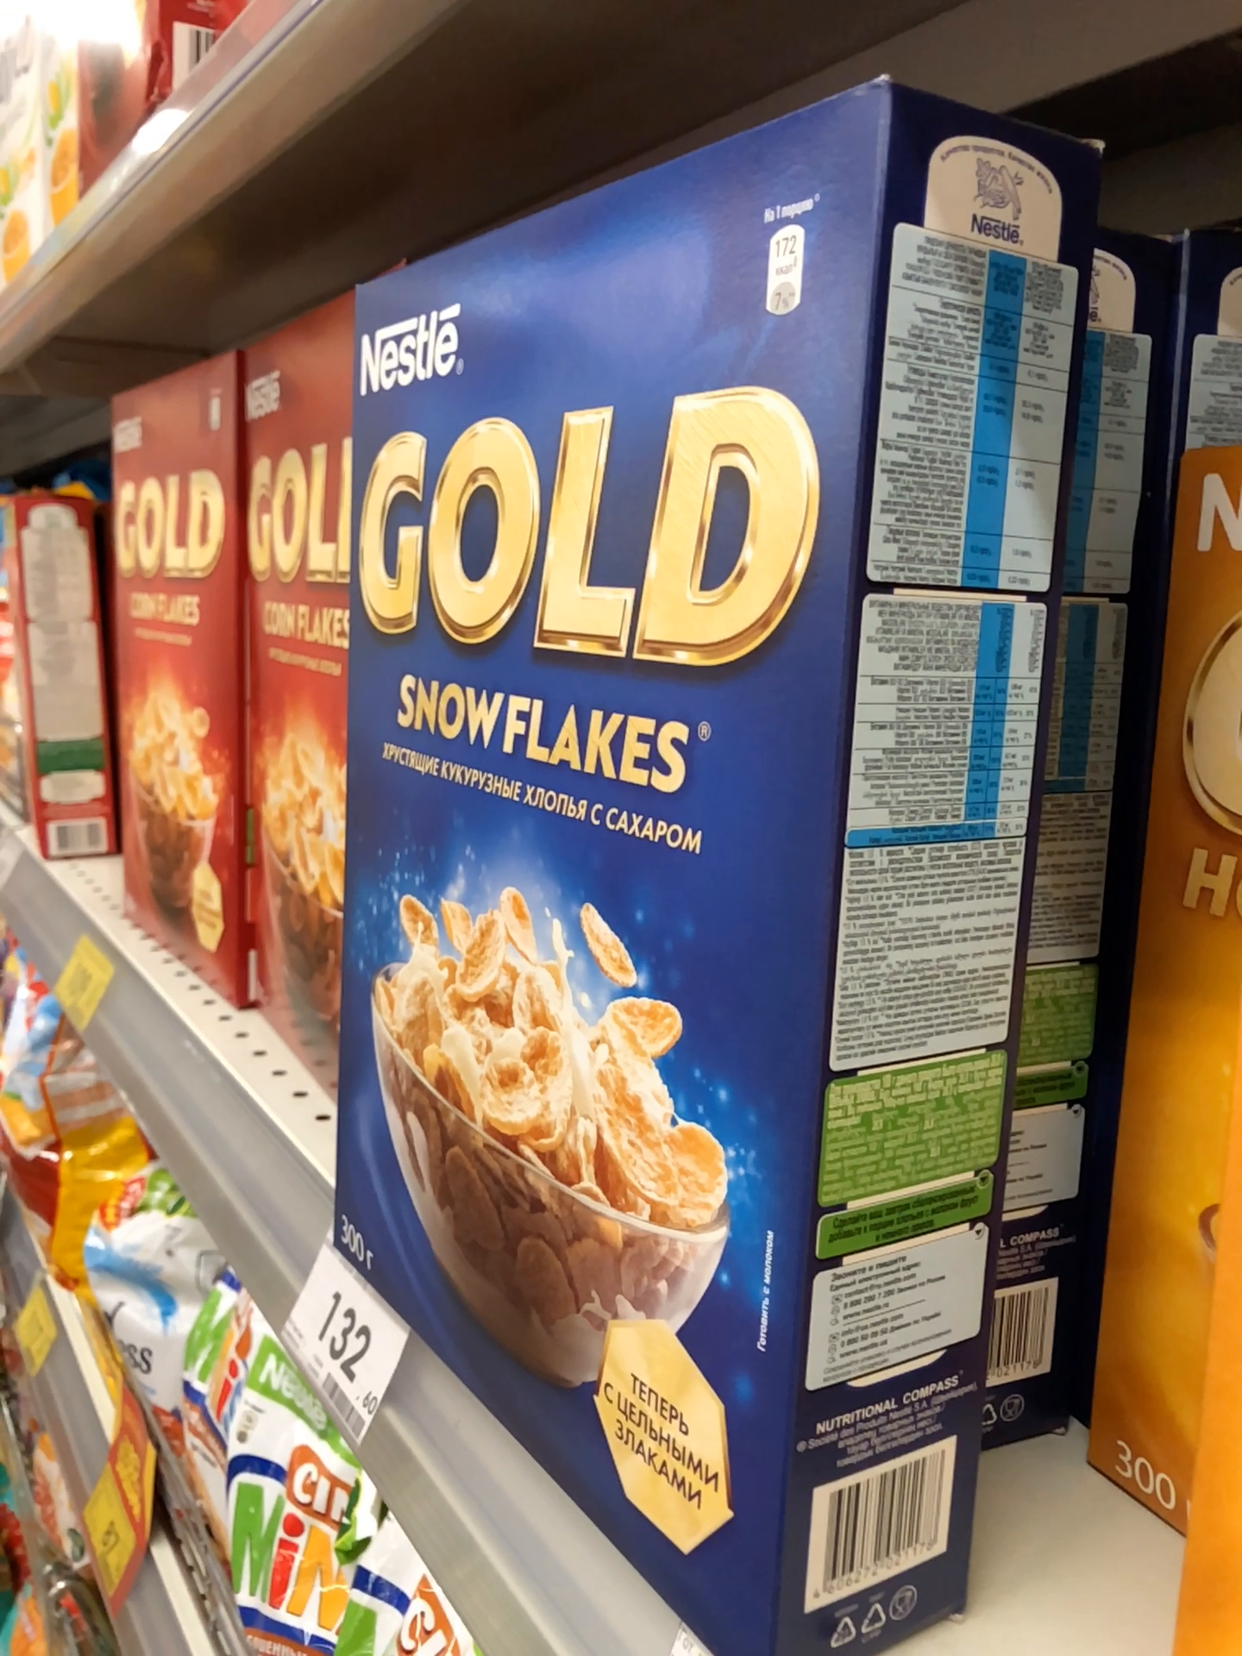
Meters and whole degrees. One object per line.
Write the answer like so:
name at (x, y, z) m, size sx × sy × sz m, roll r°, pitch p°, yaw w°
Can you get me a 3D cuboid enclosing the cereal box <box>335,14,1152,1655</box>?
cereal box at (0.001, 0.006, 0.302) m, size 0.050 × 0.269 × 0.200 m, roll -2°, pitch 10°, yaw -33°
